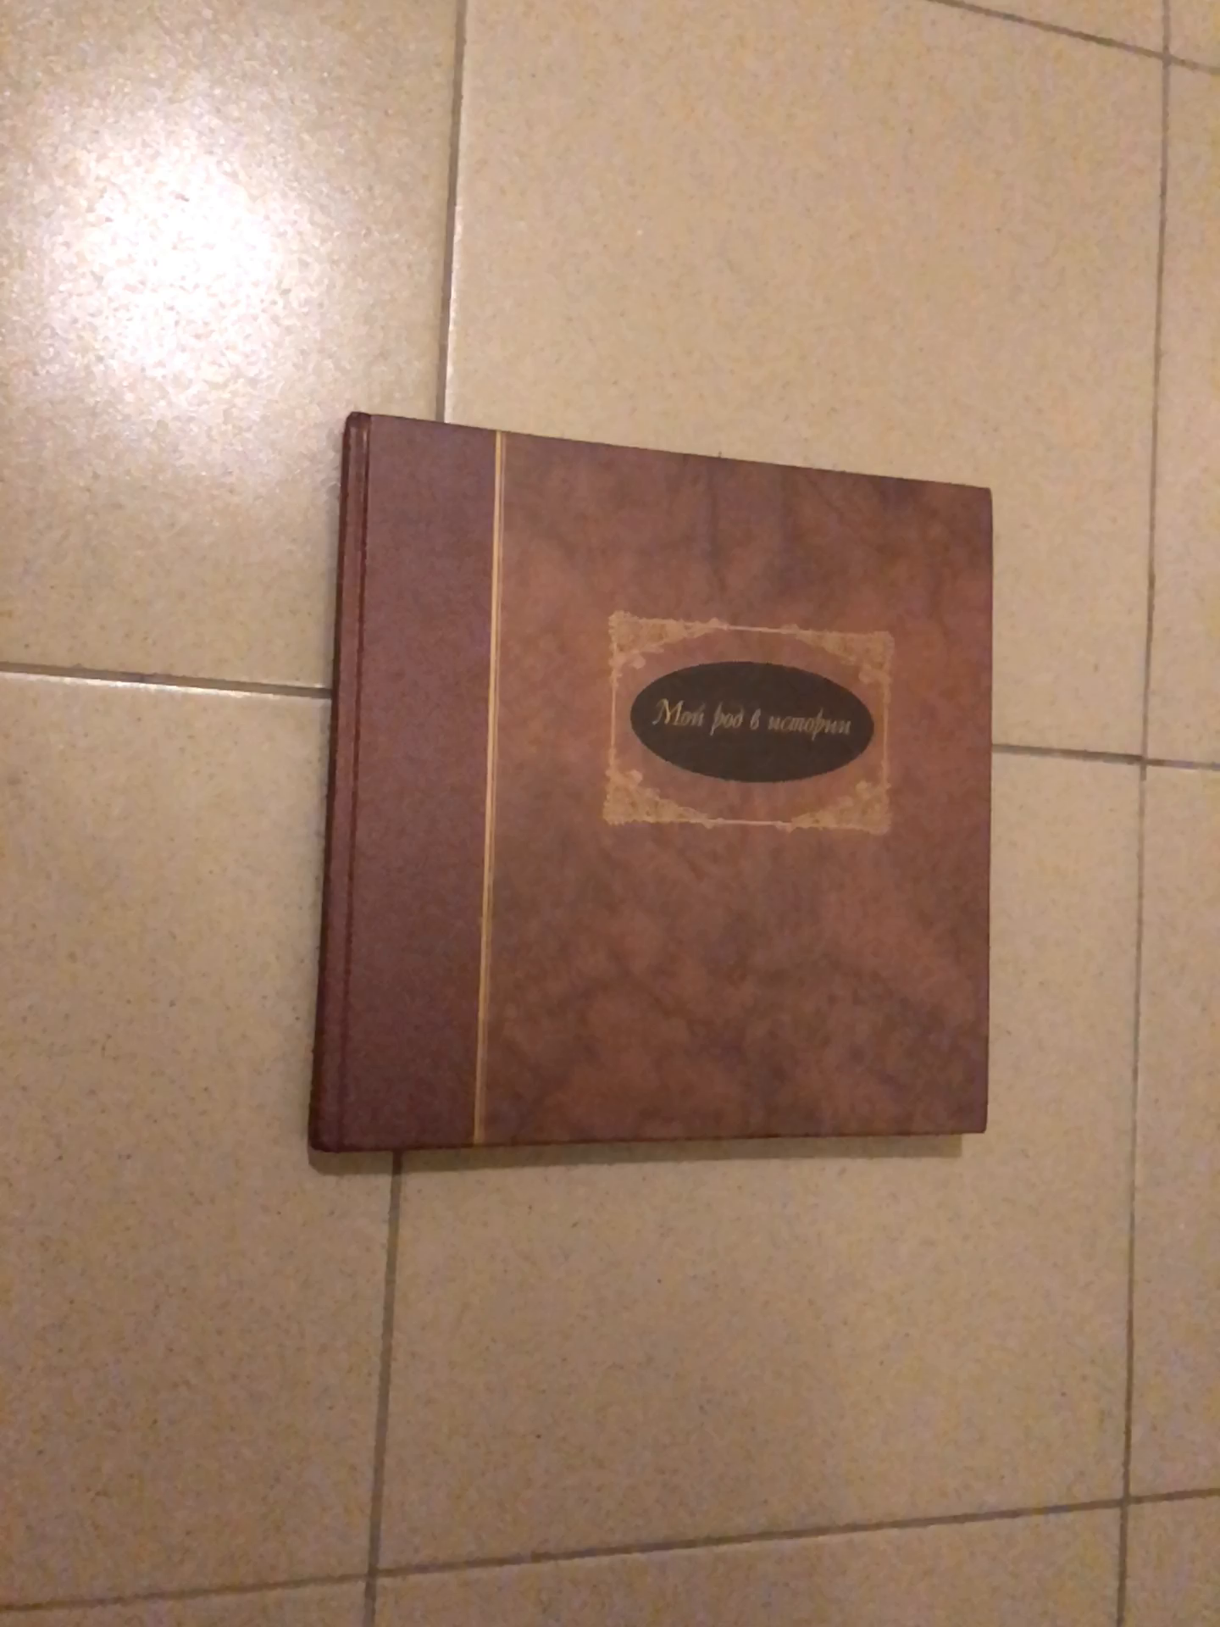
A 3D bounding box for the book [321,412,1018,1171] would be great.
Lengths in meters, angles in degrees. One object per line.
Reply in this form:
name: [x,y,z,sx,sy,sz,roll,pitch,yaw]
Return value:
book: [0.025,-0.005,0.478,0.244,0.038,0.244,1,86,-15]
